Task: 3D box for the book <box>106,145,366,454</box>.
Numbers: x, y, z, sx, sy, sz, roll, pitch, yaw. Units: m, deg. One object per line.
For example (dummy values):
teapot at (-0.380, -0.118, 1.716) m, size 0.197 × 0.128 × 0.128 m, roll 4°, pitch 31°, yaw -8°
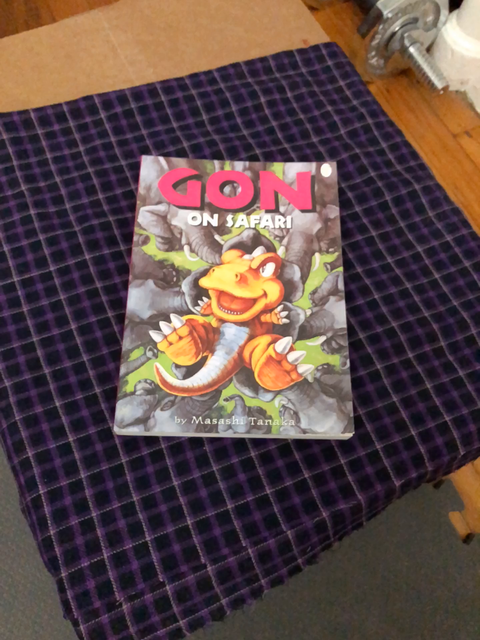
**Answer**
book at (0.000, -0.022, 0.357) m, size 0.150 × 0.020 × 0.211 m, roll 2°, pitch 68°, yaw -3°
